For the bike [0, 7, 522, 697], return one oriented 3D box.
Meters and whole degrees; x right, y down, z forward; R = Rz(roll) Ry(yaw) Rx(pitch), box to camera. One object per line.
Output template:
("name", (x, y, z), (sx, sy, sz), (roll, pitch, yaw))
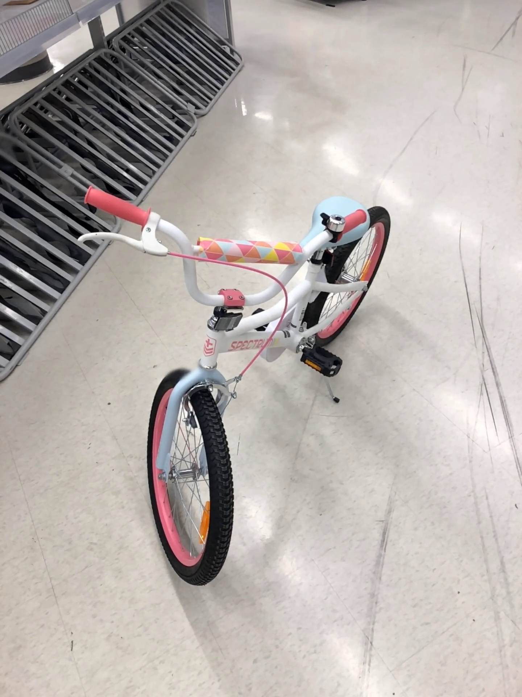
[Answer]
("bike", (0.165, -0.110, 1.424), (0.632, 0.961, 1.257), (15, 48, 22))
